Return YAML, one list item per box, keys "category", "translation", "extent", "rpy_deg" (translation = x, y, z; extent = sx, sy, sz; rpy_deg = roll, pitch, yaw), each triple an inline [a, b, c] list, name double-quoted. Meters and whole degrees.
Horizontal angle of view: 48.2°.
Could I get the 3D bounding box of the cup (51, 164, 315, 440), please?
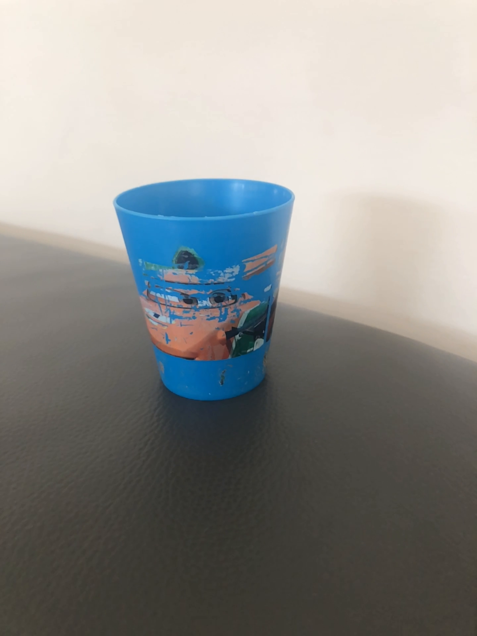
- category: "cup"
  translation: [-0.020, -0.015, 0.247]
  extent: [0.080, 0.090, 0.080]
  rpy_deg: [-1, 27, 0]
